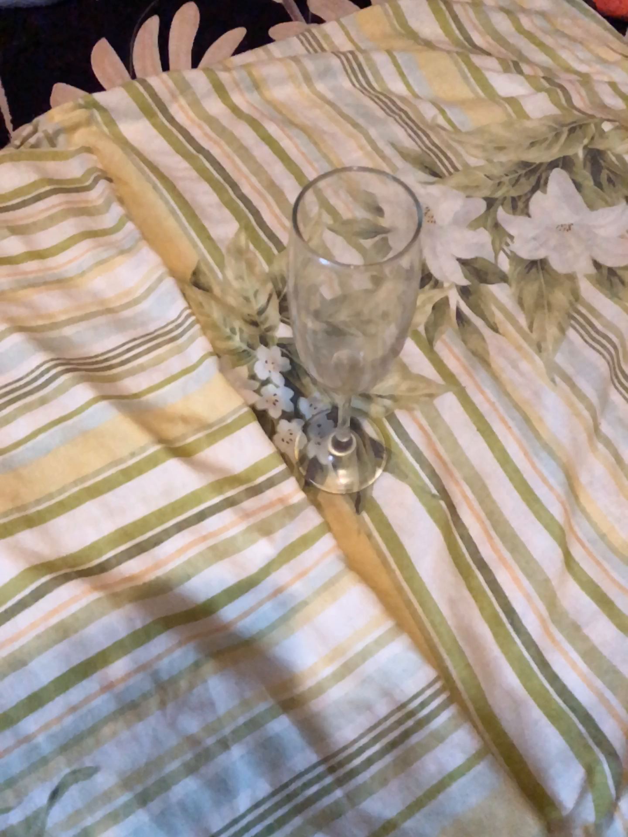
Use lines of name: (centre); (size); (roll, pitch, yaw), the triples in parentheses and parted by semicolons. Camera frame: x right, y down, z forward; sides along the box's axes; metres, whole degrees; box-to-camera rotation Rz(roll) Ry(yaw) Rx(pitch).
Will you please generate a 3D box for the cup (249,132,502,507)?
cup: (0.019, -0.031, 0.364); (0.082, 0.218, 0.071); (-11, 64, -7)
